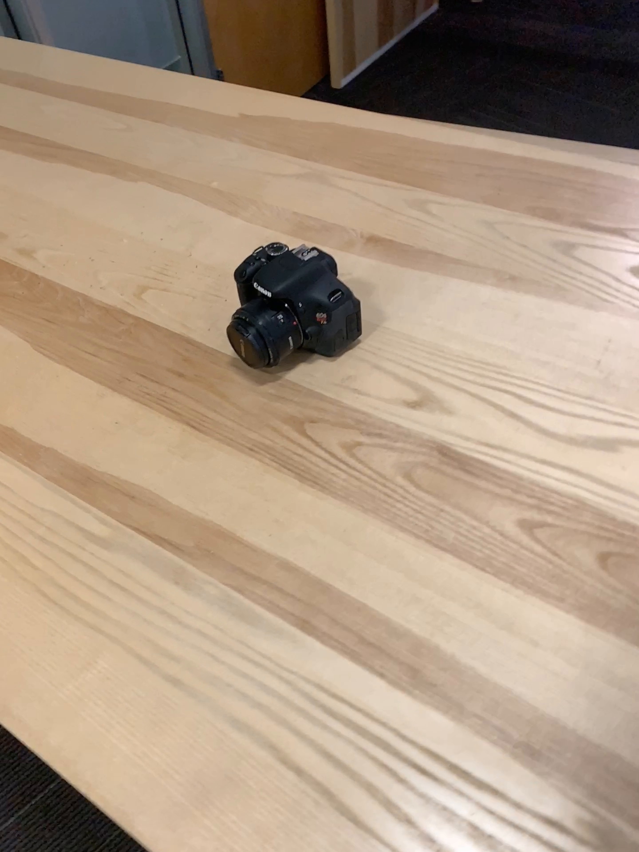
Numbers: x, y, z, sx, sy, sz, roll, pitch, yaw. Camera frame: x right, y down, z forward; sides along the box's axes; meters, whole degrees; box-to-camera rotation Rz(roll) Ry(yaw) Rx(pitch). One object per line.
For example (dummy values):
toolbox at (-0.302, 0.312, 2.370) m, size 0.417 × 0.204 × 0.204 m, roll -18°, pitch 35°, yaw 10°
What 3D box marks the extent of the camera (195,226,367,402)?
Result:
camera at (-0.036, -0.119, 0.678) m, size 0.123 × 0.094 × 0.116 m, roll 35°, pitch 62°, yaw 29°
